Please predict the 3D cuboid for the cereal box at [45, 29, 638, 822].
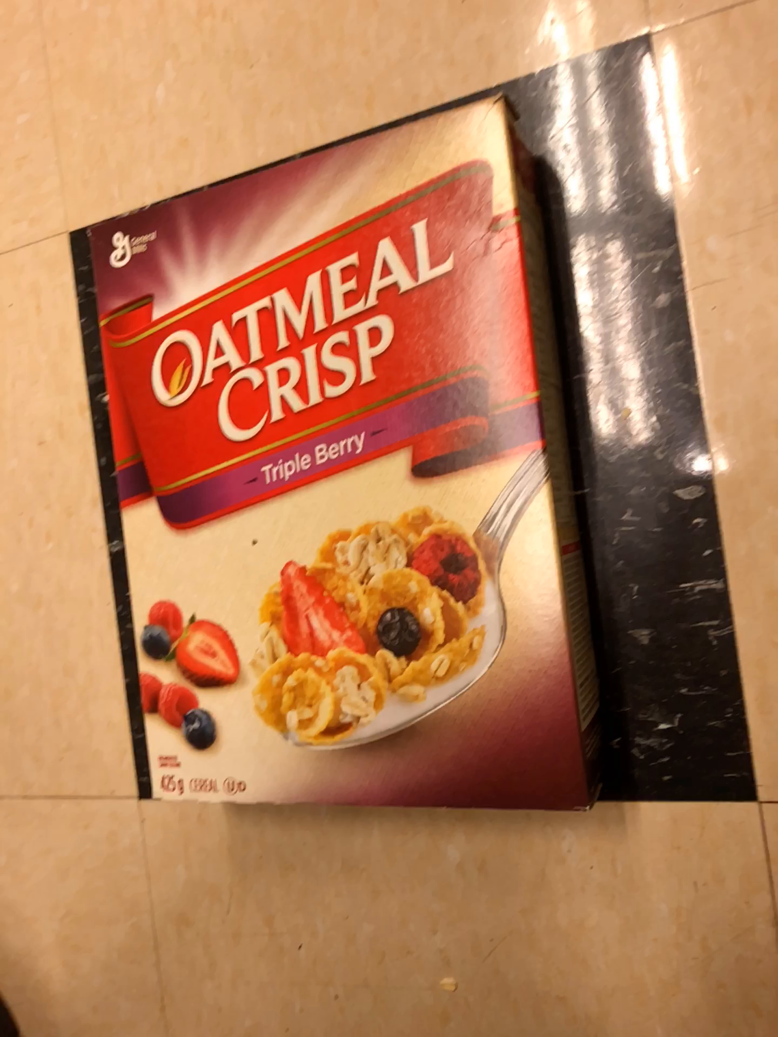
[{"bbox_3d":[-0.024,-0.020,0.340,0.200,0.070,0.250,-8,87,25],"label":"cereal box"}]
